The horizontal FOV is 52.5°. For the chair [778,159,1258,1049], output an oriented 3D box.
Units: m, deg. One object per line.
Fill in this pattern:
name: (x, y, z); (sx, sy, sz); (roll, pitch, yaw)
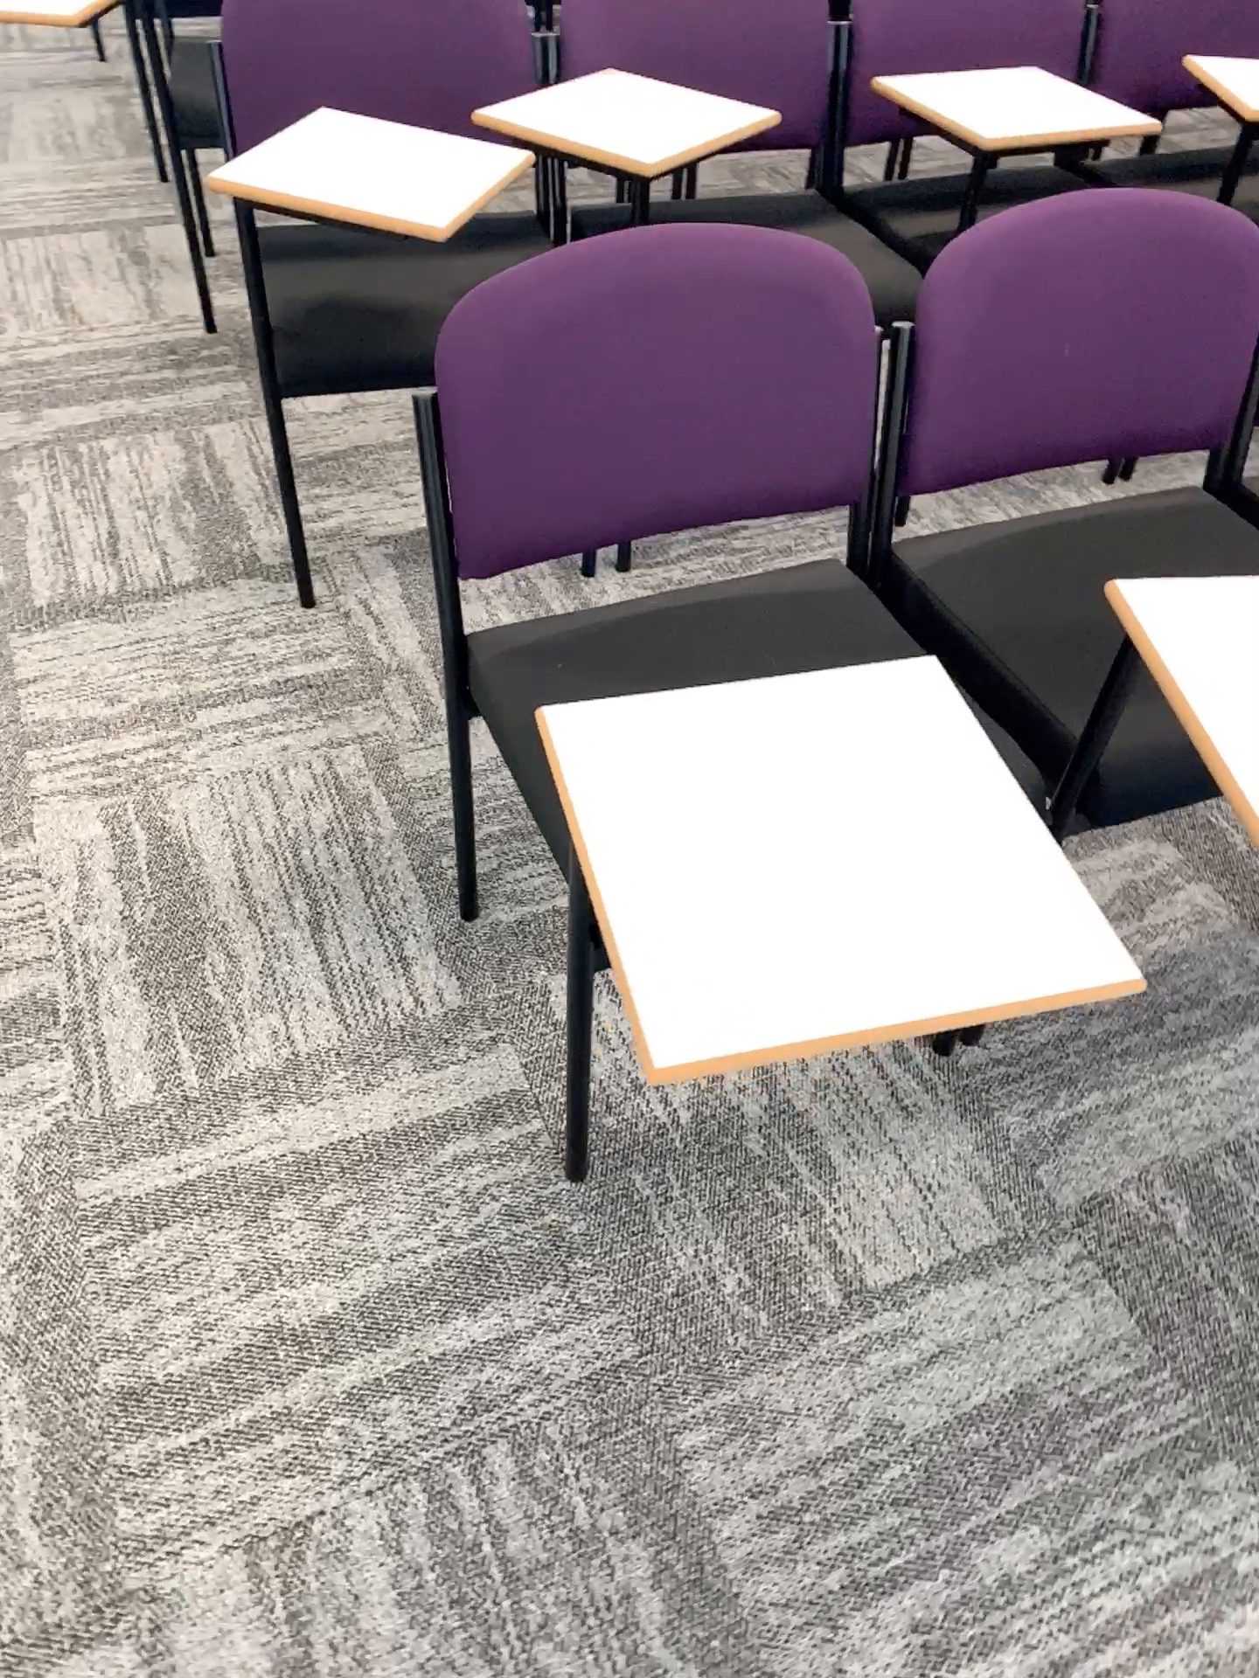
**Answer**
chair: (0.566, -0.255, 1.474); (0.516, 0.791, 0.495); (-15, 49, -17)

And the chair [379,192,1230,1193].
chair: (0.093, -0.132, 1.318); (0.516, 0.801, 0.505); (-15, 49, -17)

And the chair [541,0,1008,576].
chair: (0.169, -0.940, 2.103); (0.516, 0.782, 0.505); (-11, 48, -14)

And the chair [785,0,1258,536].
chair: (0.660, -1.043, 2.224); (0.516, 0.801, 0.505); (-11, 48, -14)

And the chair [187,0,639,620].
chair: (-0.325, -0.847, 1.971); (0.516, 0.801, 0.505); (-10, 47, -13)

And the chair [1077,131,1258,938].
chair: (1.047, -0.372, 1.627); (0.516, 0.791, 0.484); (-15, 49, -17)
